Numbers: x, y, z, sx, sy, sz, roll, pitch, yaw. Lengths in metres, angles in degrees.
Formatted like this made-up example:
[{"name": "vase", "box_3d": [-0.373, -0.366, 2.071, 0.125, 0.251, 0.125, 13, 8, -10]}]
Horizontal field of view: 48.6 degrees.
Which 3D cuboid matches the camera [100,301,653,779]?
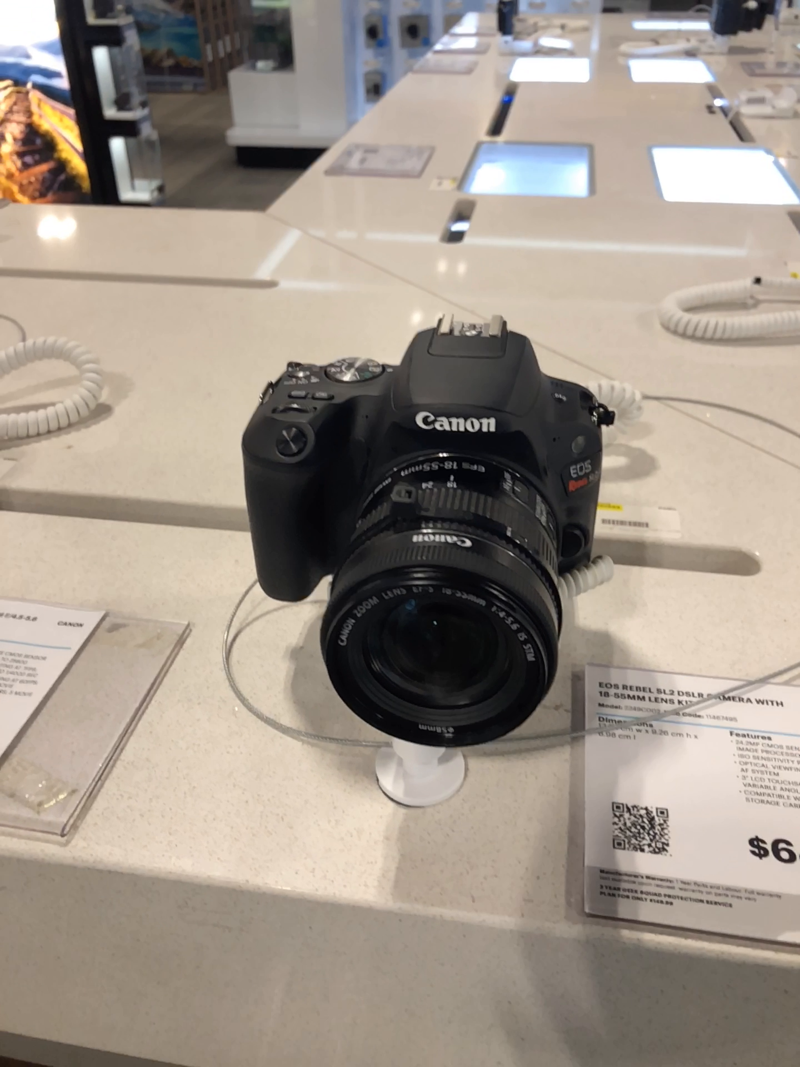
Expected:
[{"name": "camera", "box_3d": [0.004, -0.011, 0.286, 0.130, 0.070, 0.151, 4, 36, 8]}]
